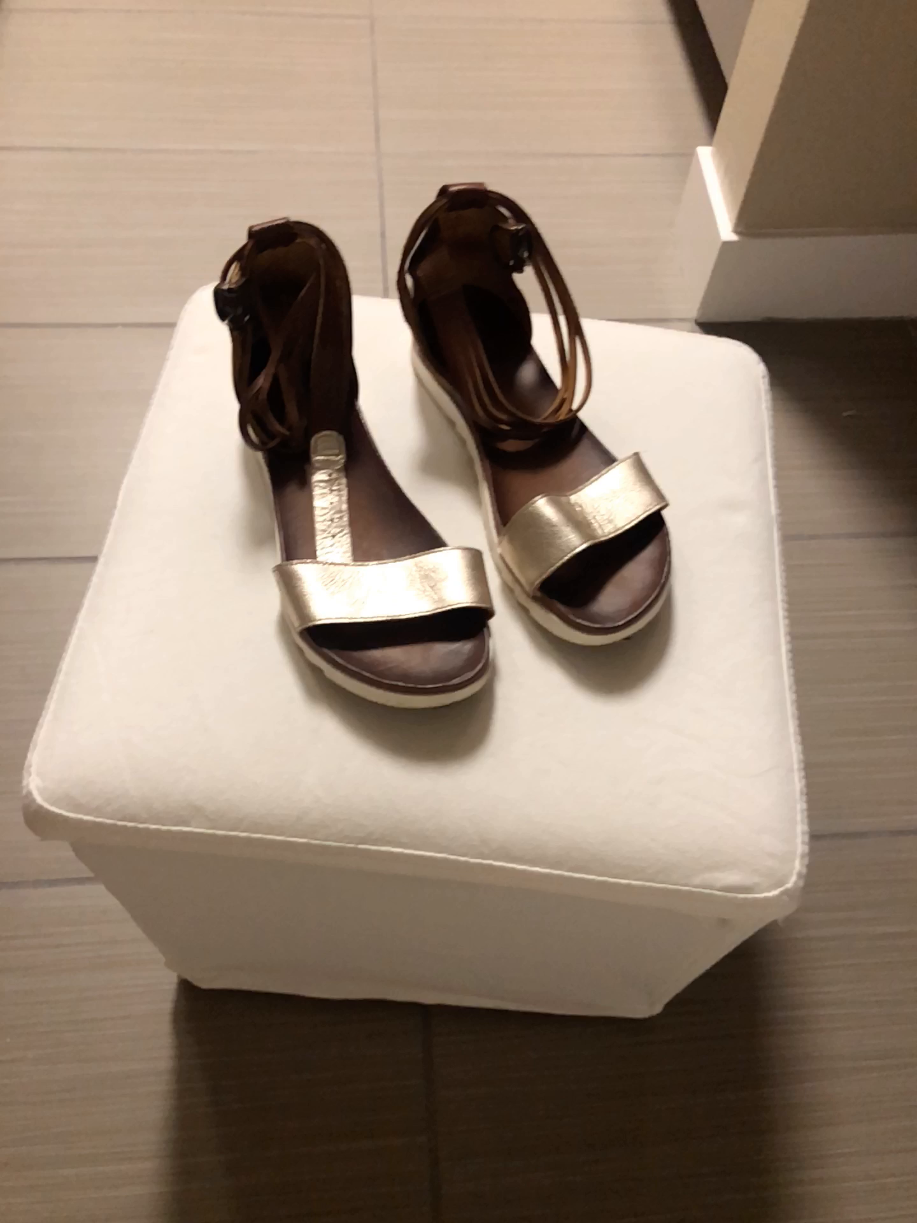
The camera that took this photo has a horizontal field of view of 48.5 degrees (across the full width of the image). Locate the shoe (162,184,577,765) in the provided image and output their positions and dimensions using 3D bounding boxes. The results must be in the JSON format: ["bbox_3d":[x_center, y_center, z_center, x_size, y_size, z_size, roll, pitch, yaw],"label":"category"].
[{"bbox_3d":[-0.052,-0.075,0.488,0.110,0.090,0.261,-16,61,-13],"label":"shoe"}]

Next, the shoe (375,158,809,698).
[{"bbox_3d":[0.050,-0.103,0.518,0.110,0.090,0.261,-16,61,-13],"label":"shoe"}]
